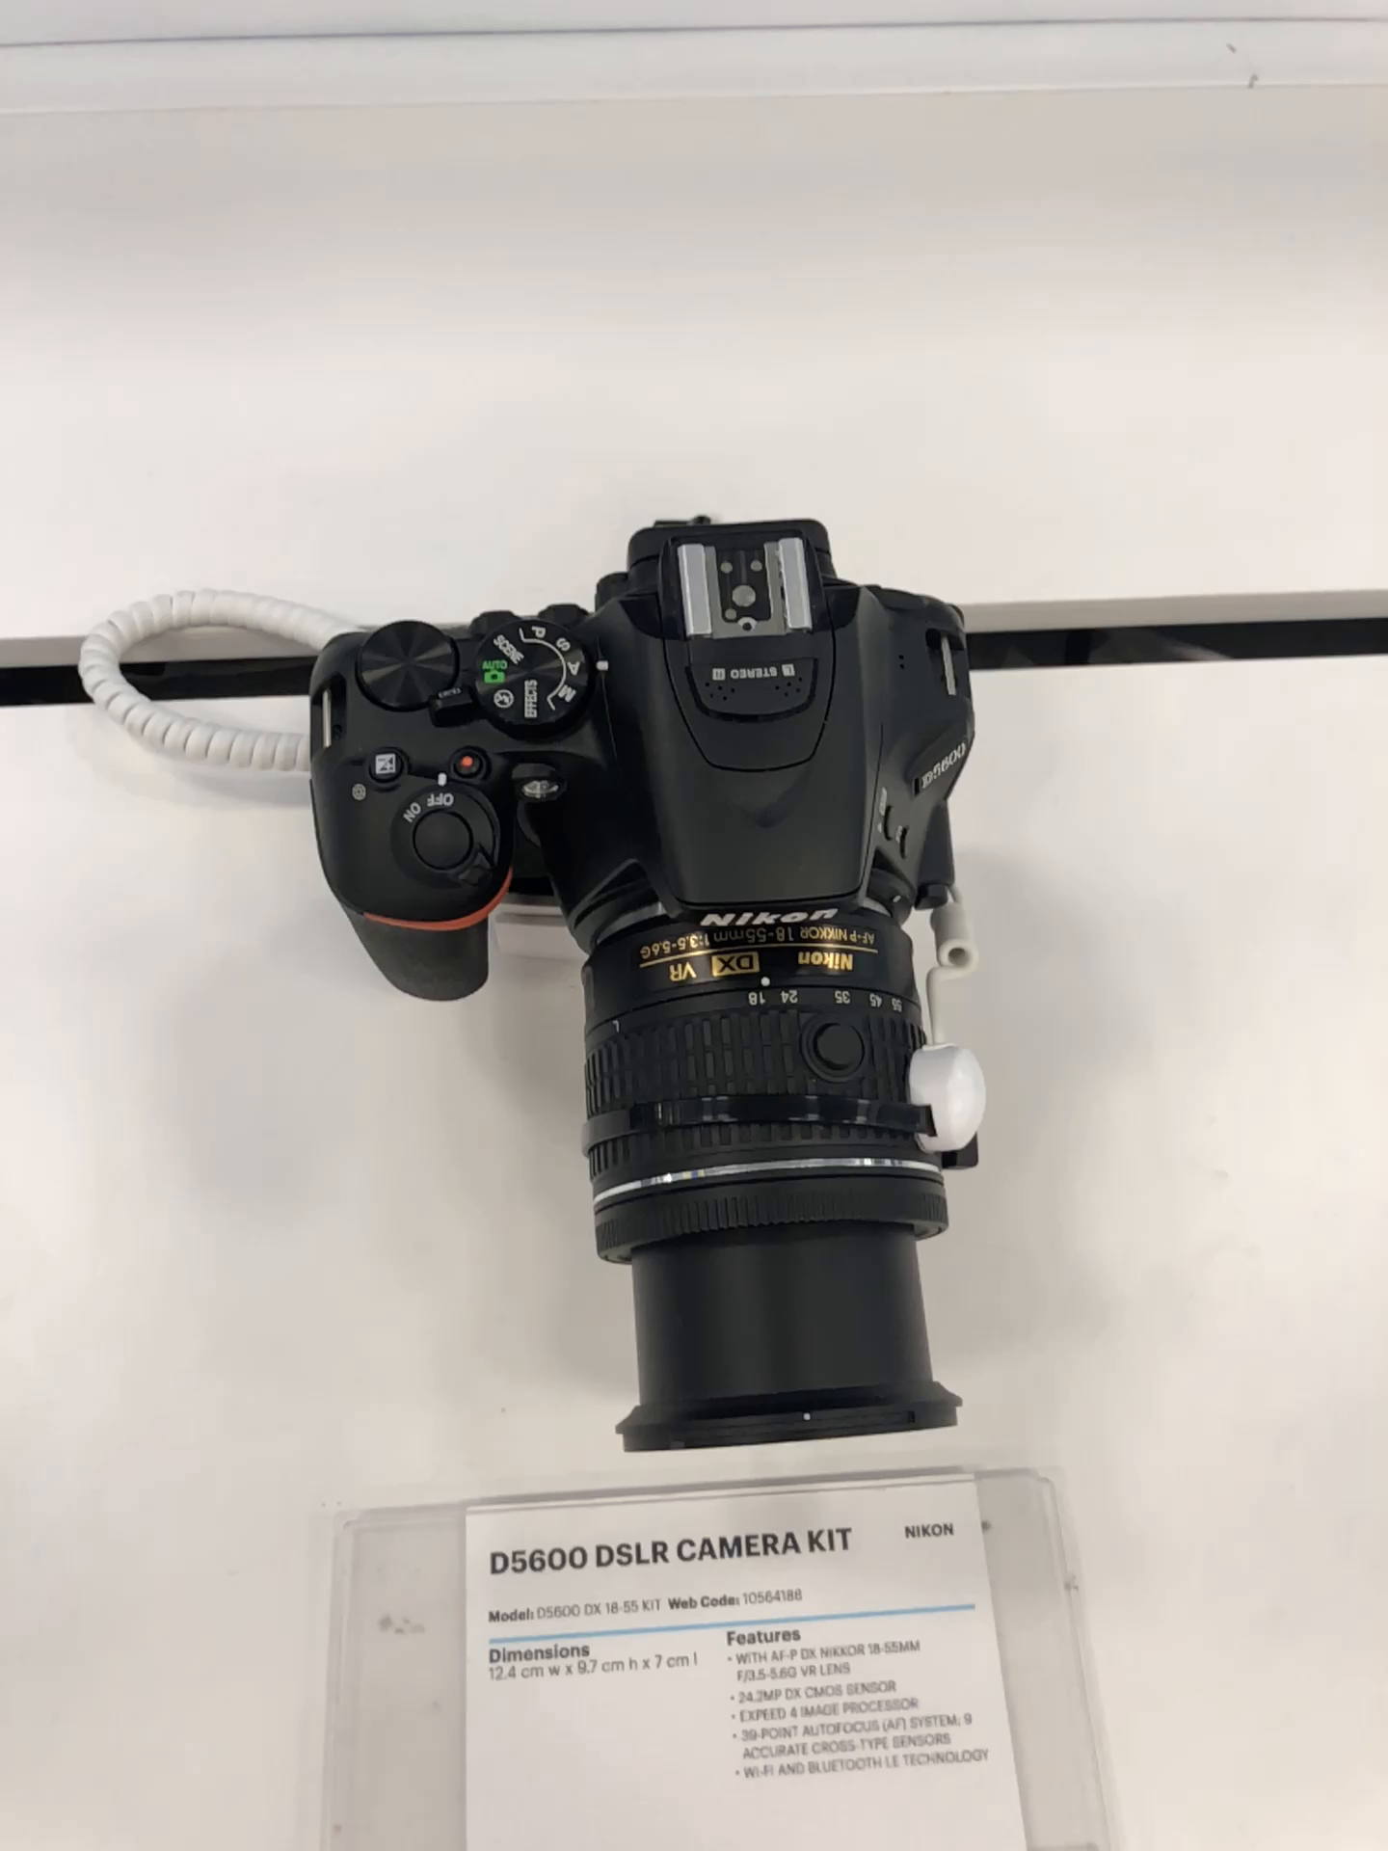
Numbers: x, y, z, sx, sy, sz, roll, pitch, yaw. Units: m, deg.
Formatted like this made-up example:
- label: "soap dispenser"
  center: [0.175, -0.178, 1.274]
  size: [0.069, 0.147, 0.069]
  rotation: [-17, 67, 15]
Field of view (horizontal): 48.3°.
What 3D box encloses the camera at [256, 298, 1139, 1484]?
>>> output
- label: "camera"
  center: [-0.009, -0.004, 0.288]
  size: [0.120, 0.090, 0.190]
  rotation: [-5, 71, -4]
